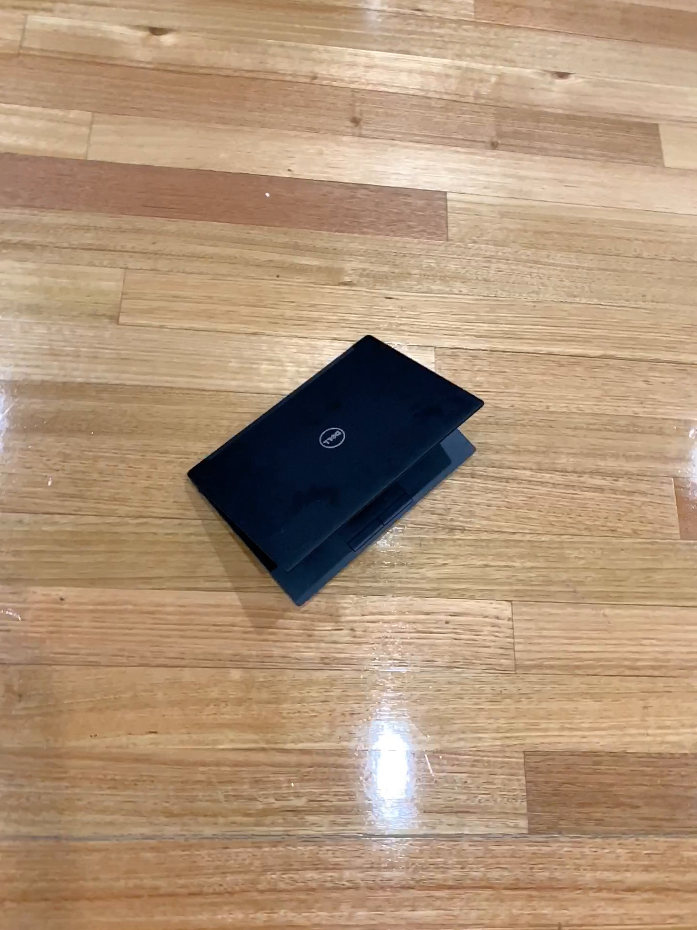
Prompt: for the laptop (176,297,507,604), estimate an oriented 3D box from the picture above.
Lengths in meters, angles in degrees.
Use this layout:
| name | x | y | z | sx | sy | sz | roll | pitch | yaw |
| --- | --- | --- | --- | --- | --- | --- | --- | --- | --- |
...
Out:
| name | x | y | z | sx | sy | sz | roll | pitch | yaw |
| --- | --- | --- | --- | --- | --- | --- | --- | --- | --- |
| laptop | -0.009 | -0.020 | 0.826 | 0.297 | 0.110 | 0.206 | -39 | 78 | -18 |
